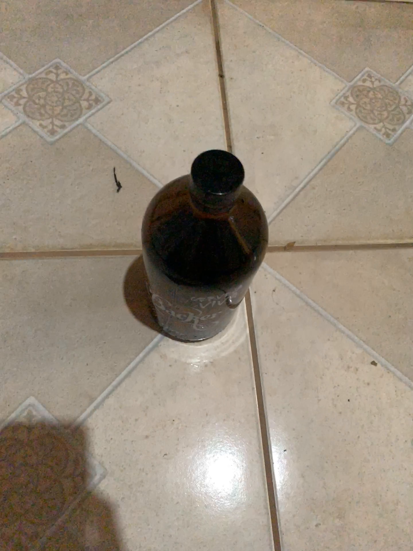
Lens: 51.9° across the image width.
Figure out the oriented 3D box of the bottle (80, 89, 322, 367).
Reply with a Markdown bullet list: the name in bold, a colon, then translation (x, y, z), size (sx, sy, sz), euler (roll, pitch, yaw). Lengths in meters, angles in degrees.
- **bottle**: translation (-0.008, -0.012, 0.328), size (0.100, 0.210, 0.090), euler (29, 69, 7)
